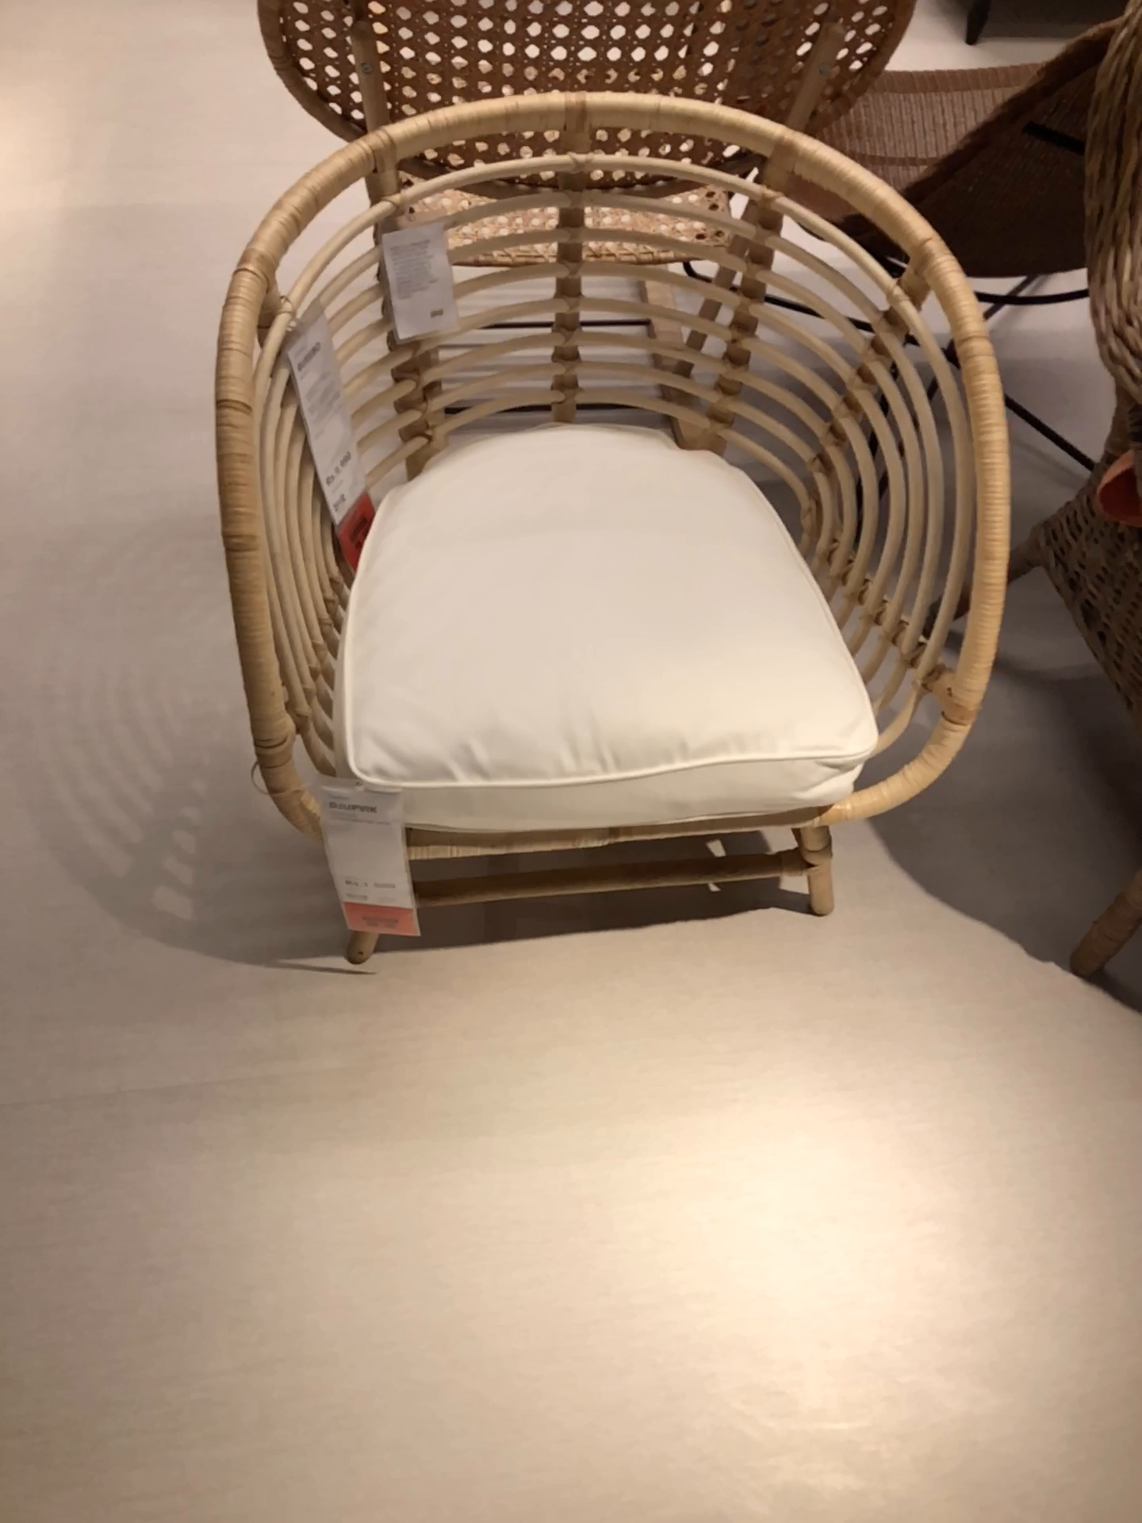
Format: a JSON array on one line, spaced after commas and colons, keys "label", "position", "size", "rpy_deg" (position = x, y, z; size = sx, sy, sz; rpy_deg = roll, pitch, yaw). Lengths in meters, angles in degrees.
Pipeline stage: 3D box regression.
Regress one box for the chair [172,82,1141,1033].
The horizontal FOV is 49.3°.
[{"label": "chair", "position": [0.021, -0.207, 1.467], "size": [0.750, 0.826, 0.684], "rpy_deg": [-4, 54, -7]}]
